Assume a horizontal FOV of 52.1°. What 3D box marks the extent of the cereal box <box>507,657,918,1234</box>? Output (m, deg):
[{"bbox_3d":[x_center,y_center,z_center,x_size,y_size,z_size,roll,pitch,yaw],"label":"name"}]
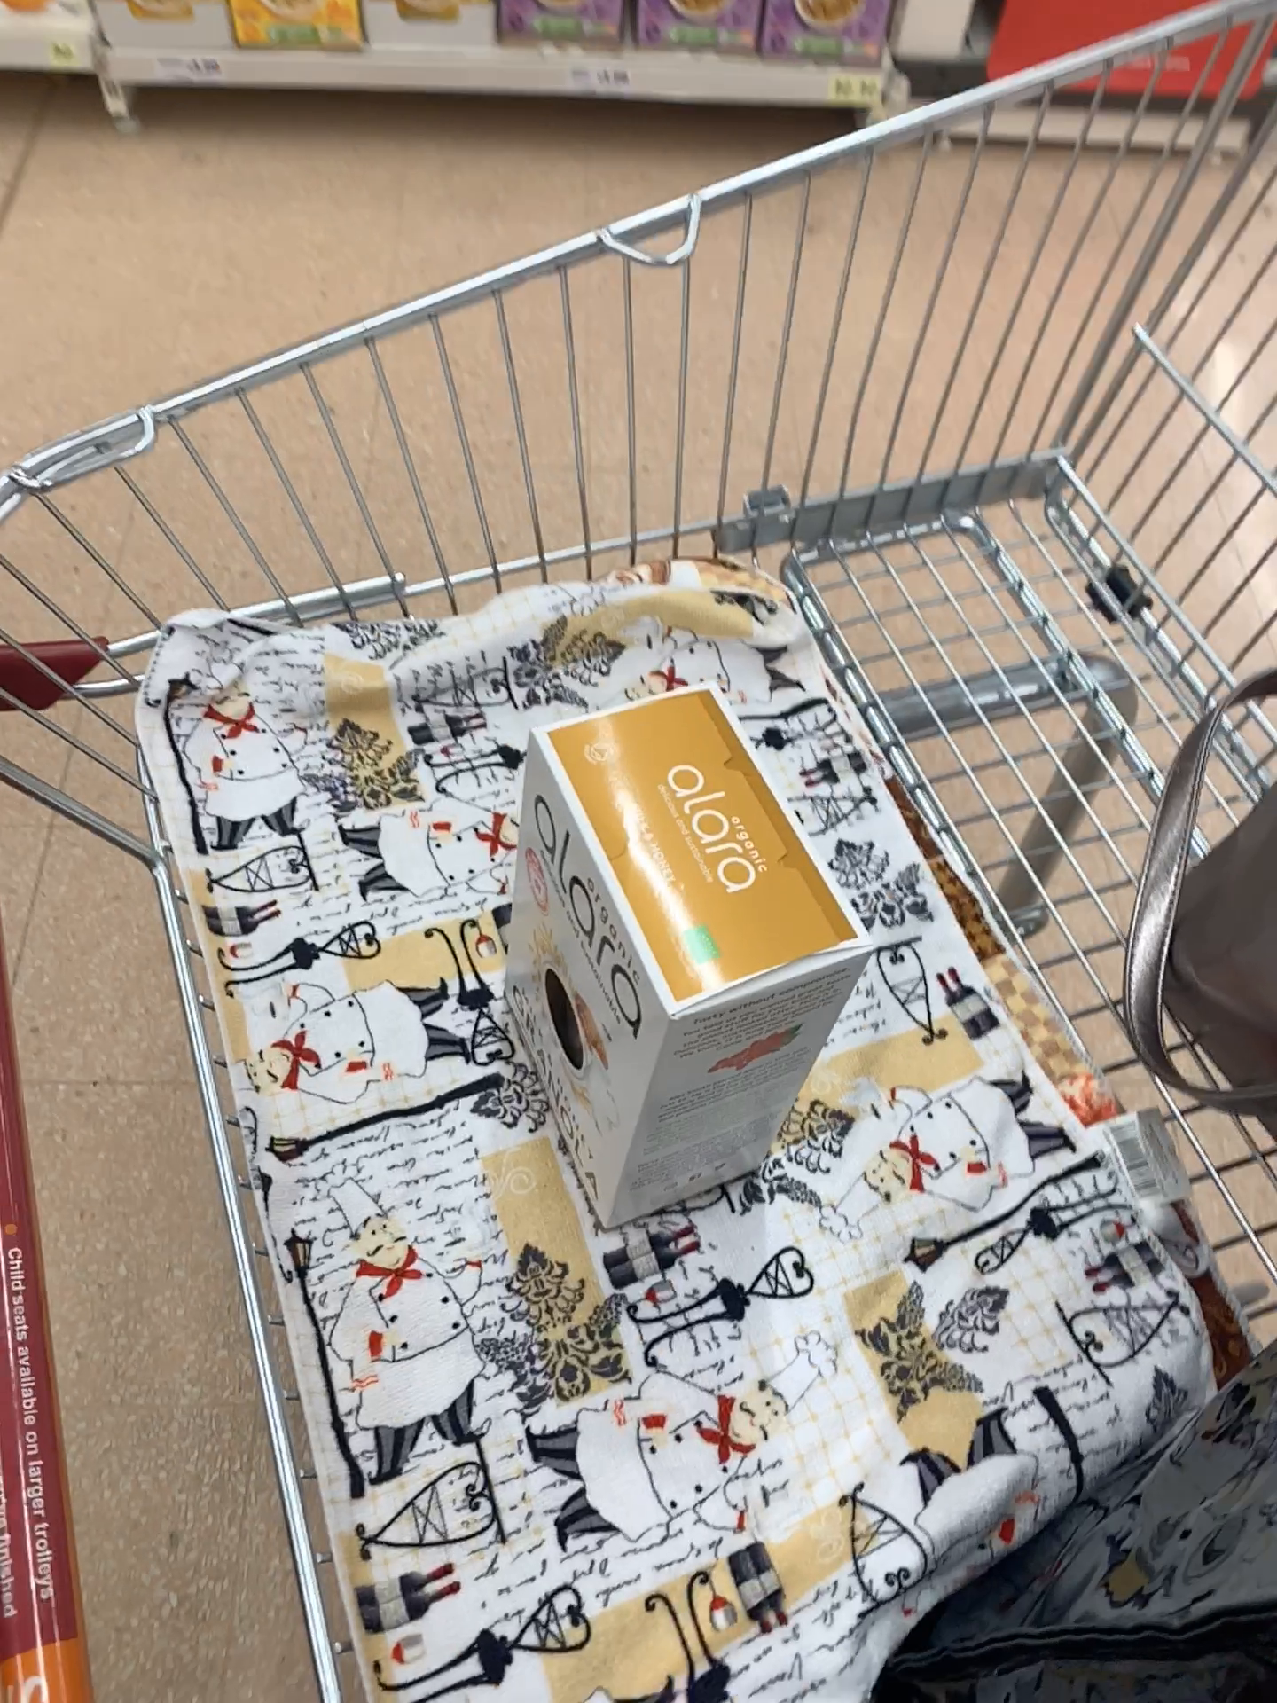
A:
[{"bbox_3d":[0.013,0.045,0.500,0.080,0.198,0.121,-18,61,-19],"label":"cereal box"}]
